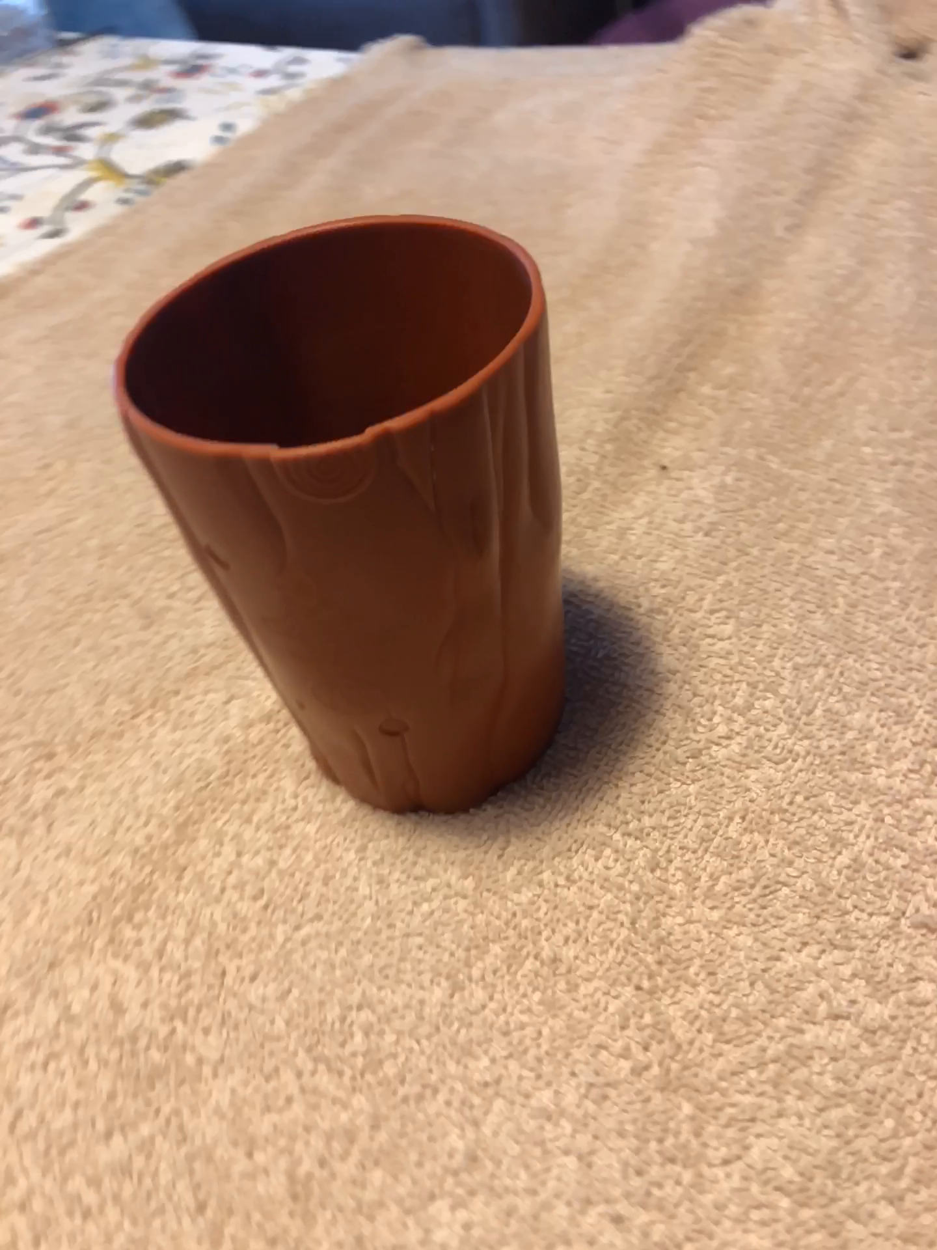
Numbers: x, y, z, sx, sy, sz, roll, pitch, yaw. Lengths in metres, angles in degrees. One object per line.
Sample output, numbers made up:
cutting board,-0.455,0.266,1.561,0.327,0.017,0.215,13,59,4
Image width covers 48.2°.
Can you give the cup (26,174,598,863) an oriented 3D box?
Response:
cup,-0.016,-0.018,0.224,0.080,0.109,0.091,-2,47,10
